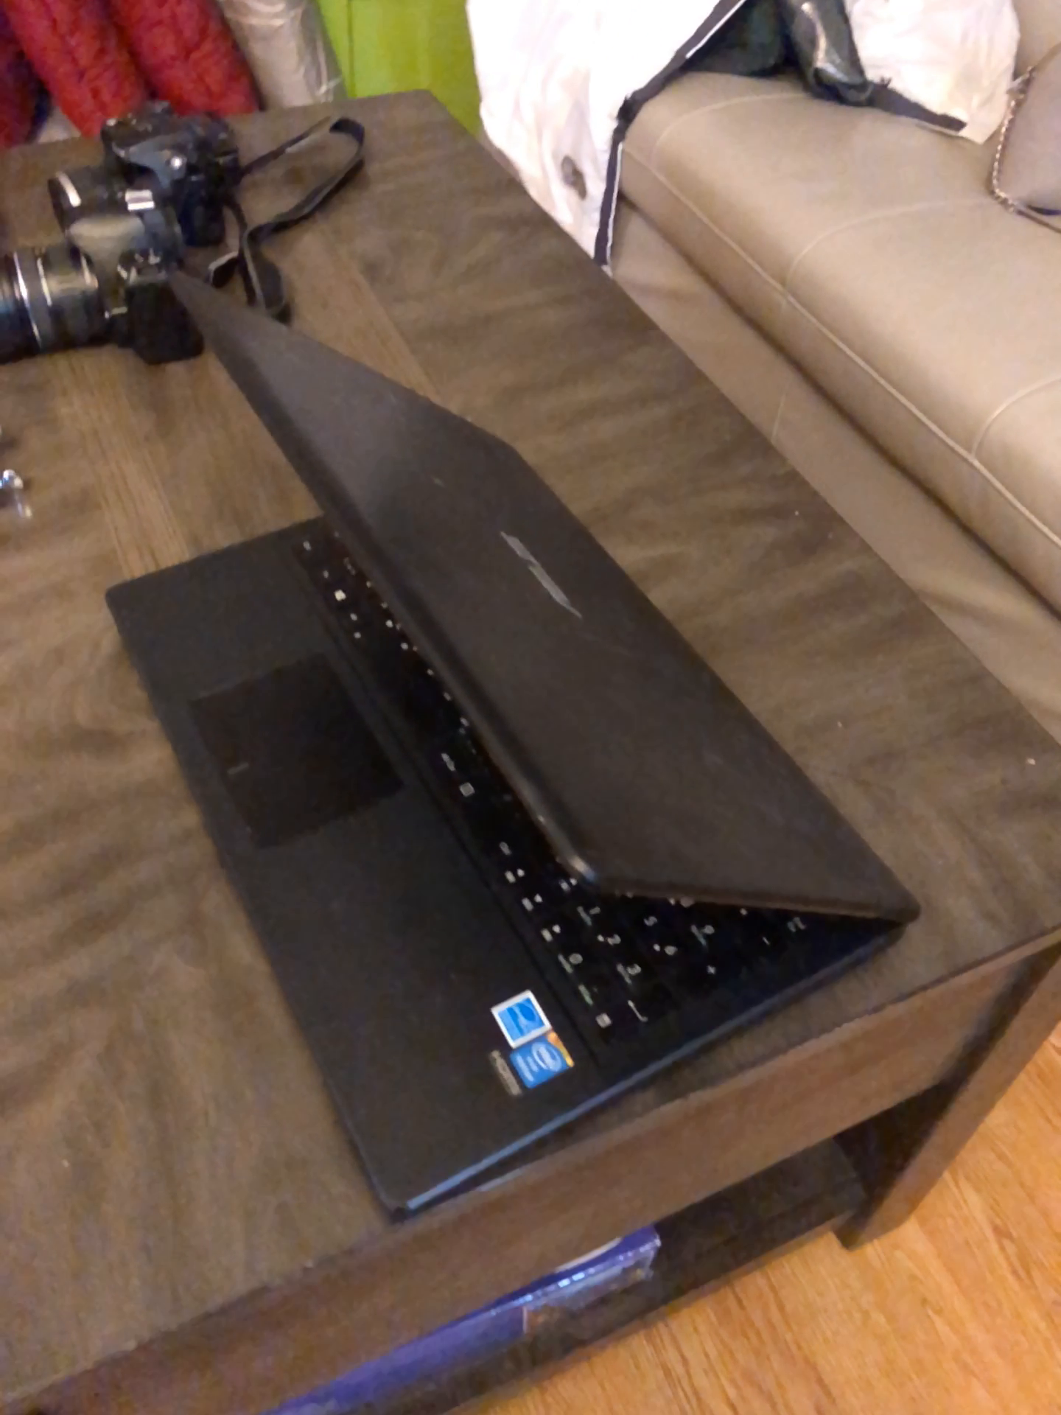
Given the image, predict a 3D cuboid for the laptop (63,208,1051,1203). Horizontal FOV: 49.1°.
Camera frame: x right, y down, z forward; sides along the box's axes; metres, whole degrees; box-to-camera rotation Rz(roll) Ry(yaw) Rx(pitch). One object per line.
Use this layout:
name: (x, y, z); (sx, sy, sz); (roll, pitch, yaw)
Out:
laptop: (-0.020, -0.037, 0.519); (0.238, 0.164, 0.374); (-22, 53, -19)
